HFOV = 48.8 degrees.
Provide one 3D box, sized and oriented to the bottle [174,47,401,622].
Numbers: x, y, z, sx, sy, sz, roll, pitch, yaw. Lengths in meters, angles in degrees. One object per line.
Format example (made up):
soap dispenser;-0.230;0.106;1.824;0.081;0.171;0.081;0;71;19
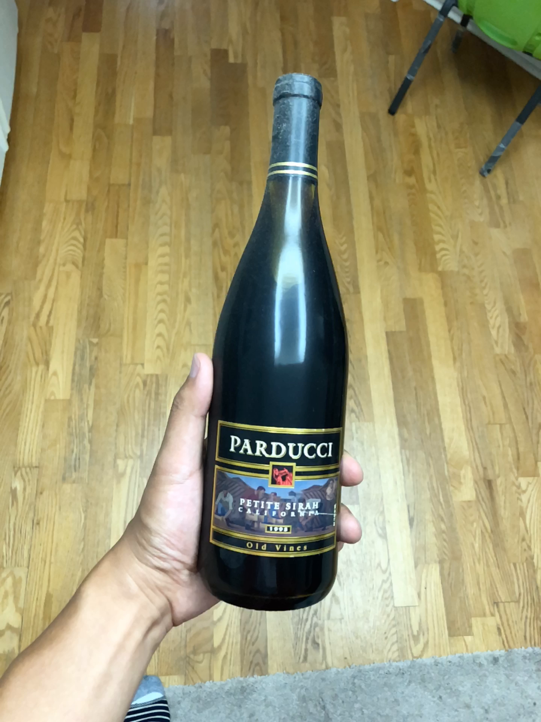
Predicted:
bottle;0.004;-0.009;0.332;0.090;0.070;0.280;4;95;-5
